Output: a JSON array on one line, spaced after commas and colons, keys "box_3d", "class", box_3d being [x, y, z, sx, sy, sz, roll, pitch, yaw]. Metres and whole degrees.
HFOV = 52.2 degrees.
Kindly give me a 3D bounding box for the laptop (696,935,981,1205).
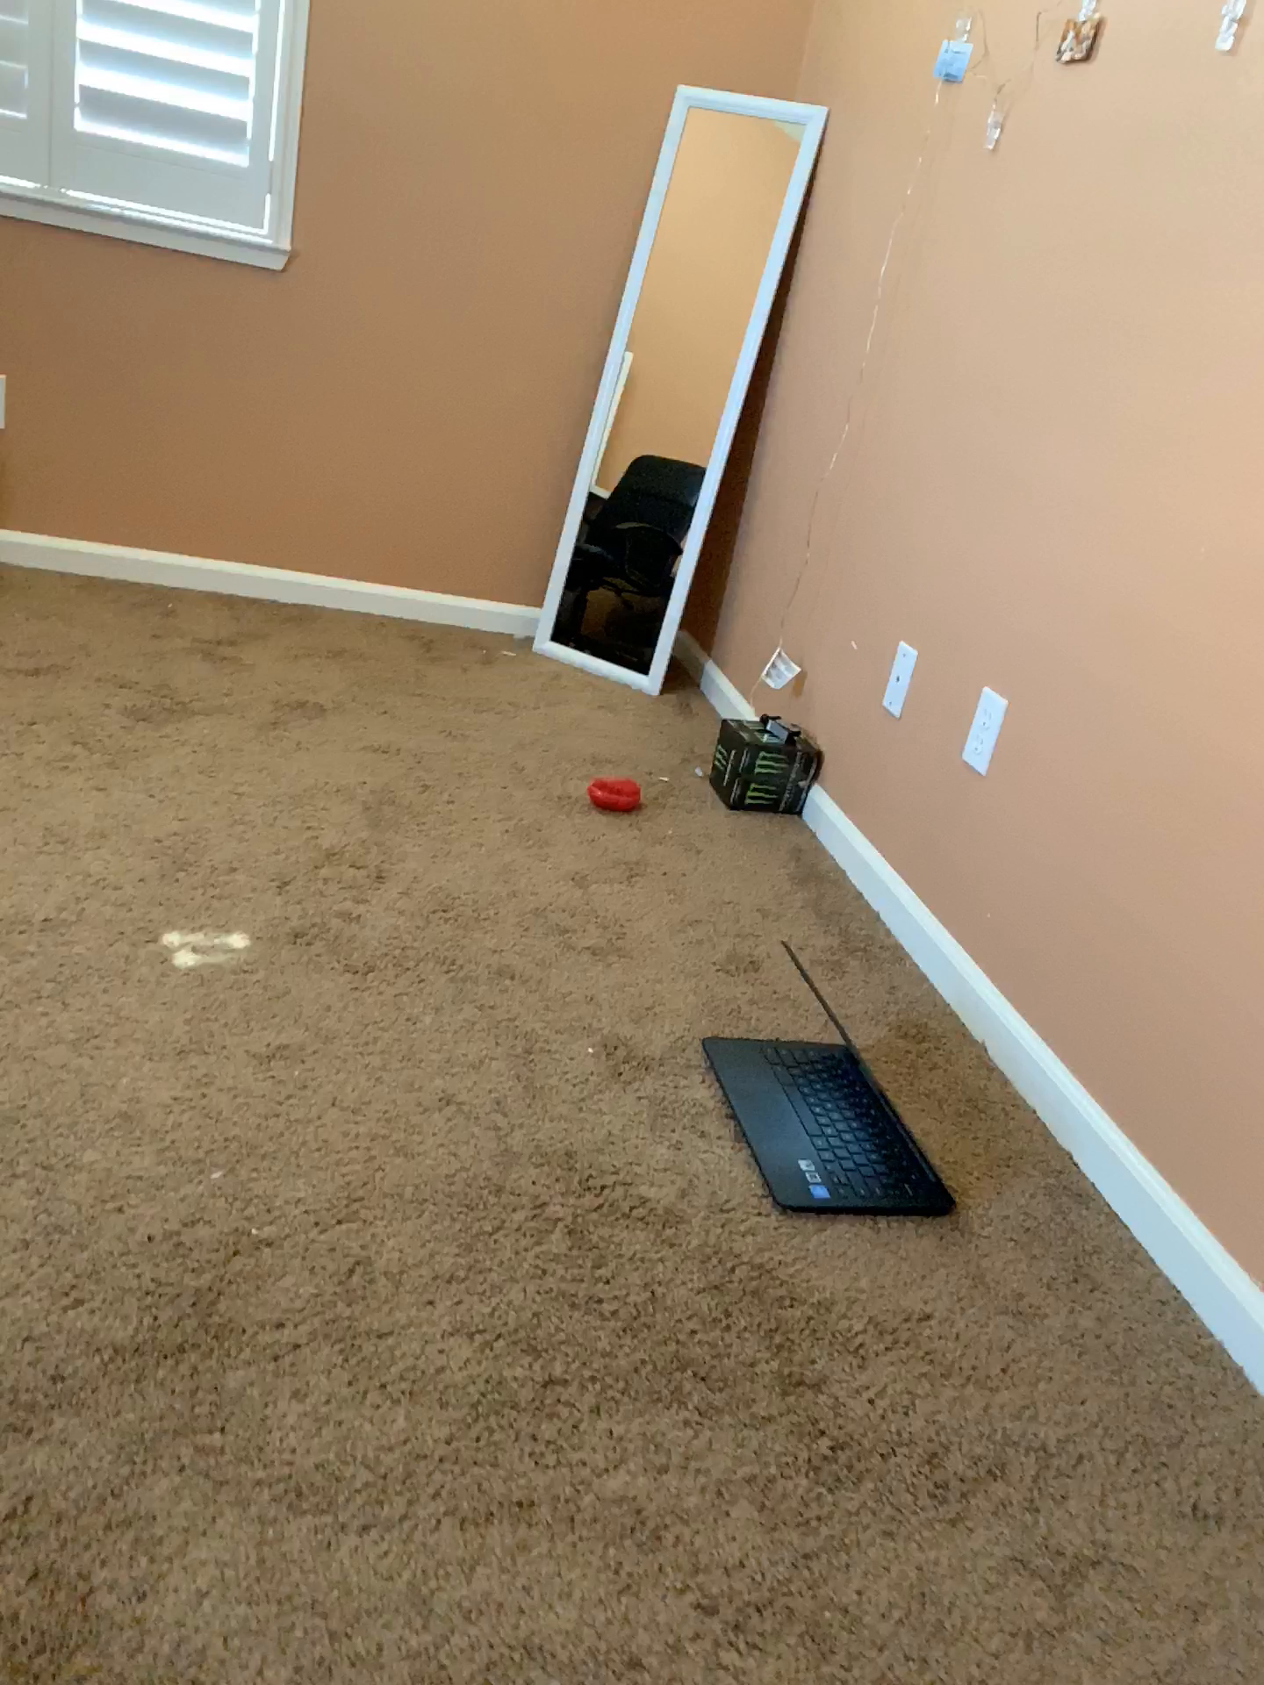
[{"box_3d": [0.210, 0.238, 1.404, 0.191, 0.140, 0.293, 5, 24, -15], "class": "laptop"}]
